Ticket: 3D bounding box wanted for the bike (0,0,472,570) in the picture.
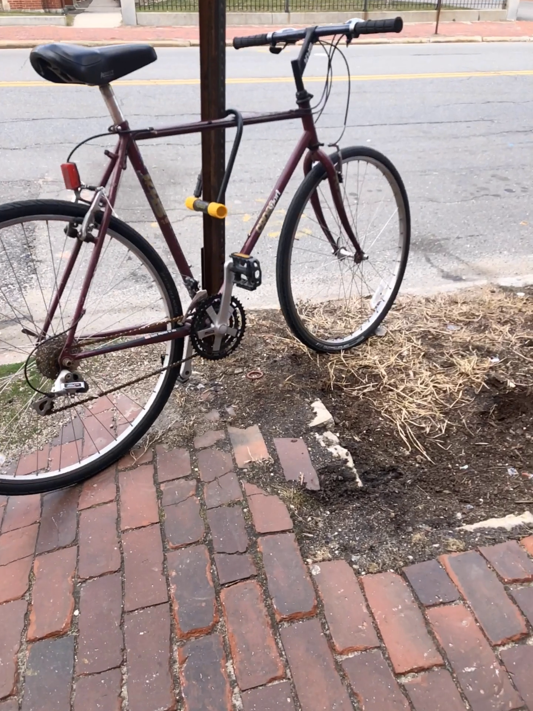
[{"bbox_3d":[-0.196,-0.404,1.623,1.688,0.961,0.556,-27,41,-35],"label":"bike"}]
